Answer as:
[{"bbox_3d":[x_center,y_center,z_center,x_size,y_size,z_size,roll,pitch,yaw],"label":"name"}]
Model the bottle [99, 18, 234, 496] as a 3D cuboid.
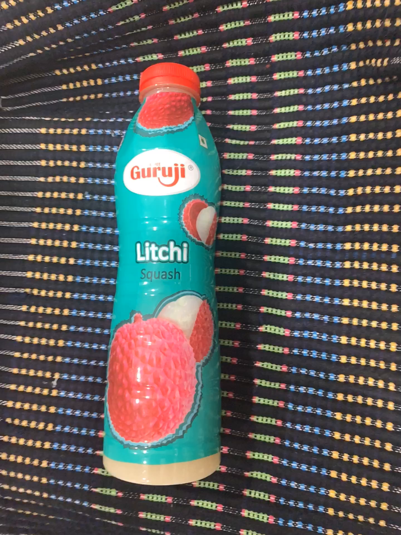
[{"bbox_3d":[-0.014,-0.013,0.280,0.070,0.080,0.280,-1,79,5],"label":"bottle"}]
